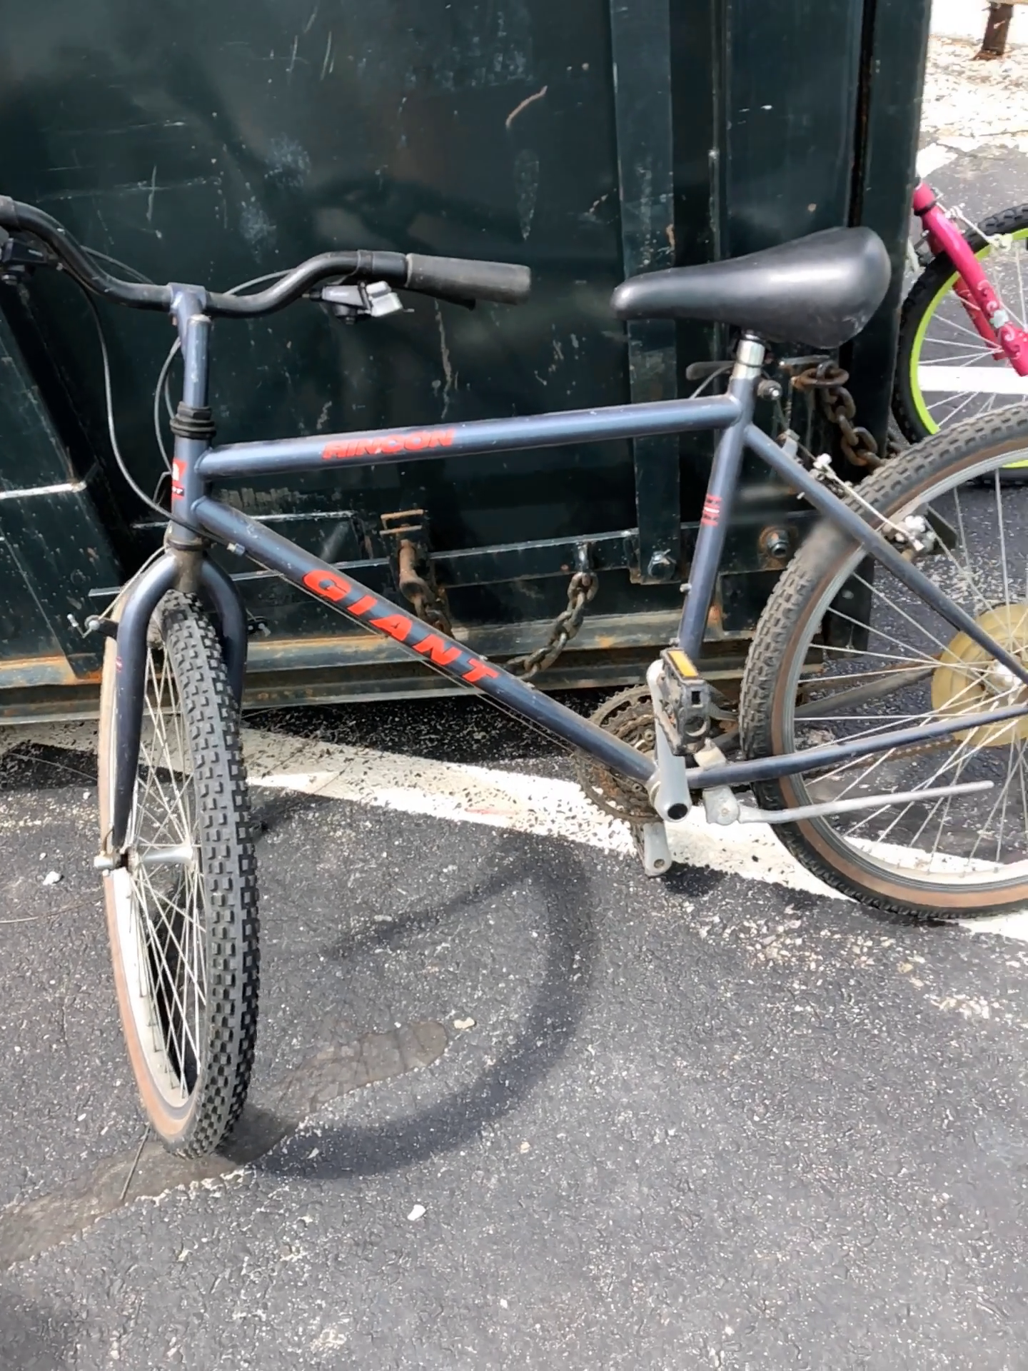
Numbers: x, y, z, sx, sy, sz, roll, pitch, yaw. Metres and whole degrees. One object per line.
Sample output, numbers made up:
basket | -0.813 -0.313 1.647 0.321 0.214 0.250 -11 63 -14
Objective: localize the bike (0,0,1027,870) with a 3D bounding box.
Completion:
bike | -0.027 -0.335 1.364 1.097 0.833 0.639 0 46 8
